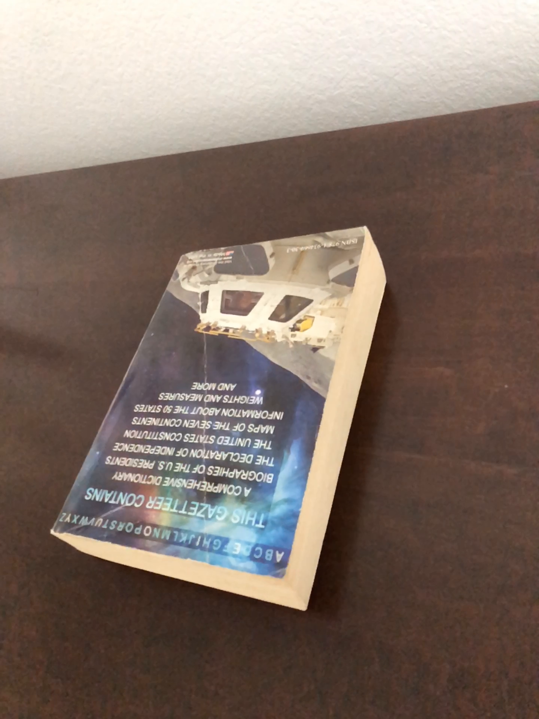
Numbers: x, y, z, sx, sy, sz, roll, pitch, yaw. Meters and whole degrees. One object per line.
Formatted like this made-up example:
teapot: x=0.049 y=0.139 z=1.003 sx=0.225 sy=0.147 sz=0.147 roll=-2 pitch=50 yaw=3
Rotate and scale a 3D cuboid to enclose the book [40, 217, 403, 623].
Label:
book: x=-0.019 y=0.018 z=0.320 sx=0.140 sy=0.040 sz=0.196 roll=-1 pitch=56 yaw=33
